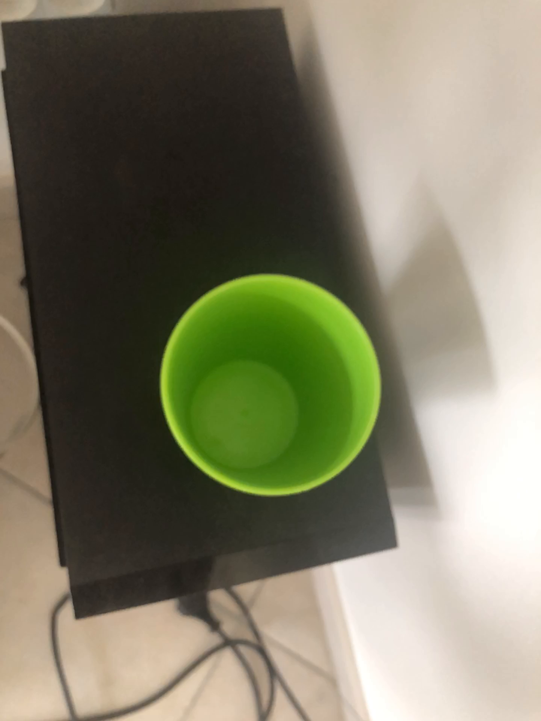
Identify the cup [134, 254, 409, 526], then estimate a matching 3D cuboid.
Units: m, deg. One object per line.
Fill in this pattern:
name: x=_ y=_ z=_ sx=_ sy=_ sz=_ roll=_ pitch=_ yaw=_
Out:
cup: x=-0.006 y=0.016 z=0.259 sx=0.080 sy=0.090 sz=0.080 roll=2 pitch=78 yaw=-9
